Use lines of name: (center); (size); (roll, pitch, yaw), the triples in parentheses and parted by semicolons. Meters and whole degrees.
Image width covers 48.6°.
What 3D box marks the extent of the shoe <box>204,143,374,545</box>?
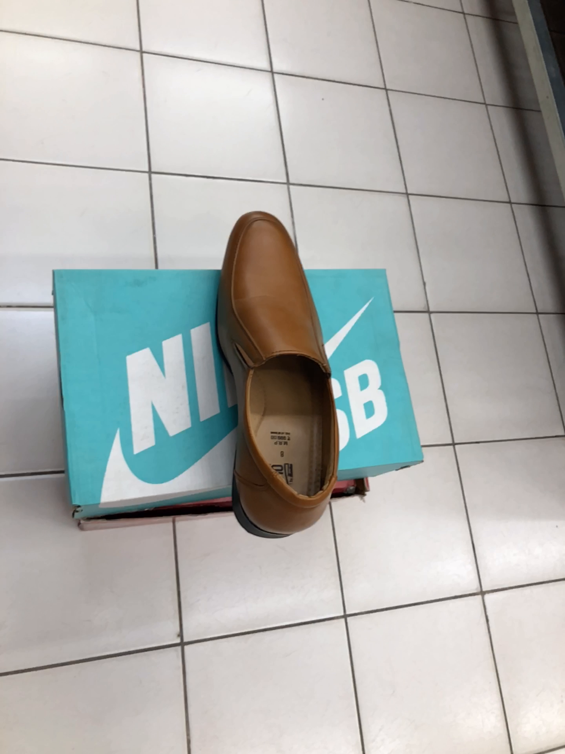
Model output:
shoe: (-0.005, -0.026, 0.522); (0.090, 0.100, 0.311); (1, 72, -19)
